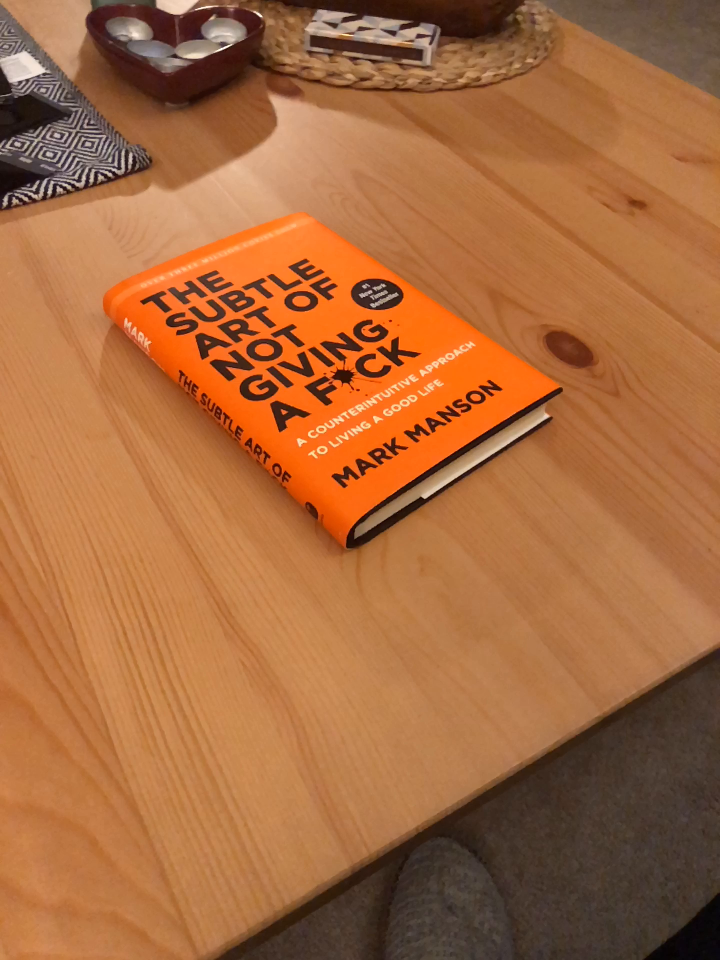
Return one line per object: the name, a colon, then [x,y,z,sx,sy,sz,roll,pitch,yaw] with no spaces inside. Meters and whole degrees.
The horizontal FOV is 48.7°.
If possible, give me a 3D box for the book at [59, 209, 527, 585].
book: [-0.043,-0.065,0.453,0.161,0.030,0.220,-31,59,-26]
